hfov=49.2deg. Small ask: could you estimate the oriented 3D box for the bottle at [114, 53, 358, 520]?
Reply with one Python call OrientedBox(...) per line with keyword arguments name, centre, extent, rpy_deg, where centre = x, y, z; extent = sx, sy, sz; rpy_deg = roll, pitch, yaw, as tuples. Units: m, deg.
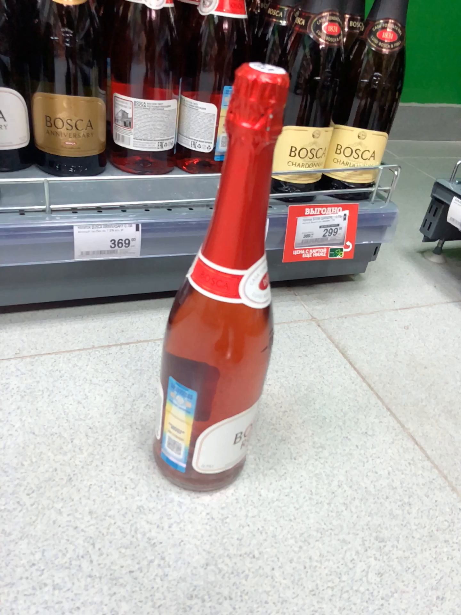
OrientedBox(name="bottle", centre=(-0.011, -0.001, 0.371), extent=(0.100, 0.317, 0.101), rpy_deg=(7, 33, -5))
